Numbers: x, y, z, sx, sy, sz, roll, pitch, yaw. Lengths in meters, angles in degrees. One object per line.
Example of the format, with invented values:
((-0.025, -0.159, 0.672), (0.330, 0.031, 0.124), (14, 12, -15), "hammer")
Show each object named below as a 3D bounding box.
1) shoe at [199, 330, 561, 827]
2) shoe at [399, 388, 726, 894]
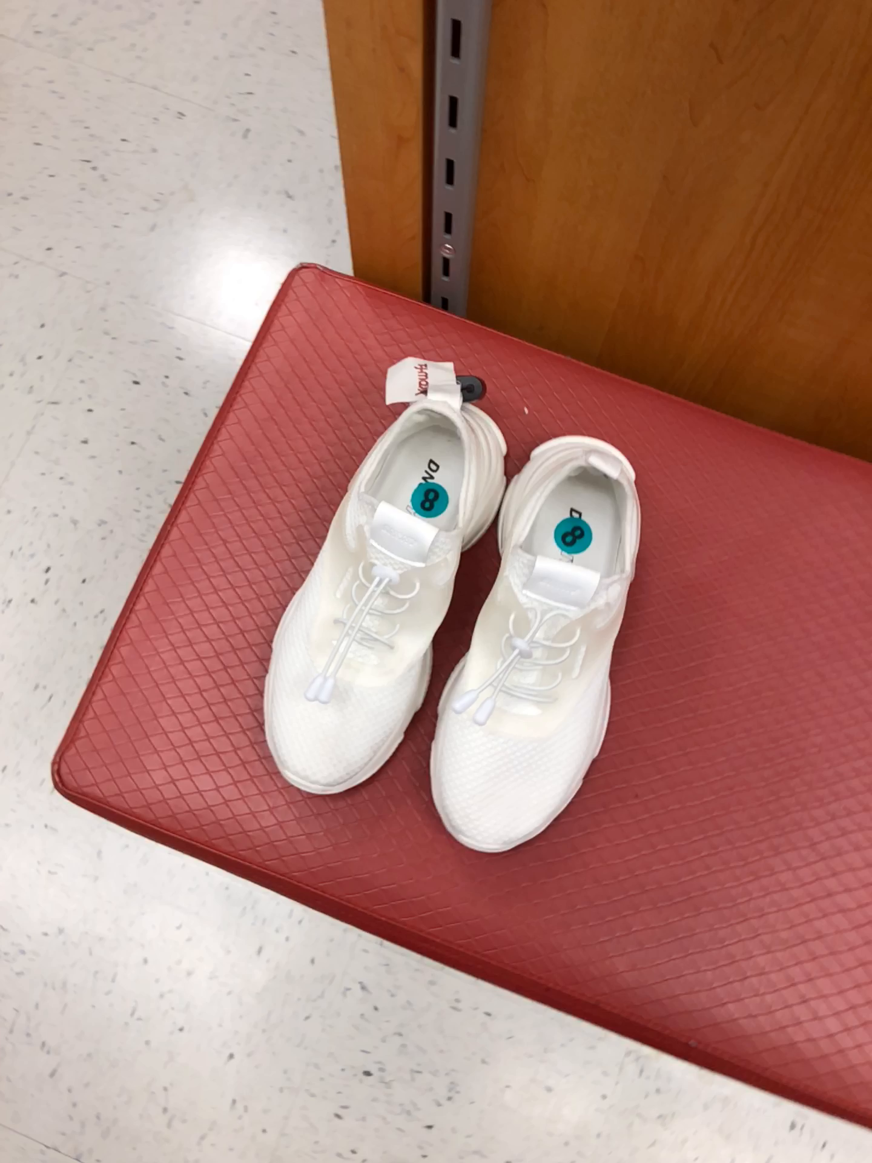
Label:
((-0.028, 0.002, 0.616), (0.112, 0.110, 0.277), (22, 75, 5), "shoe")
((0.077, 0.039, 0.608), (0.109, 0.110, 0.277), (19, 75, 4), "shoe")
